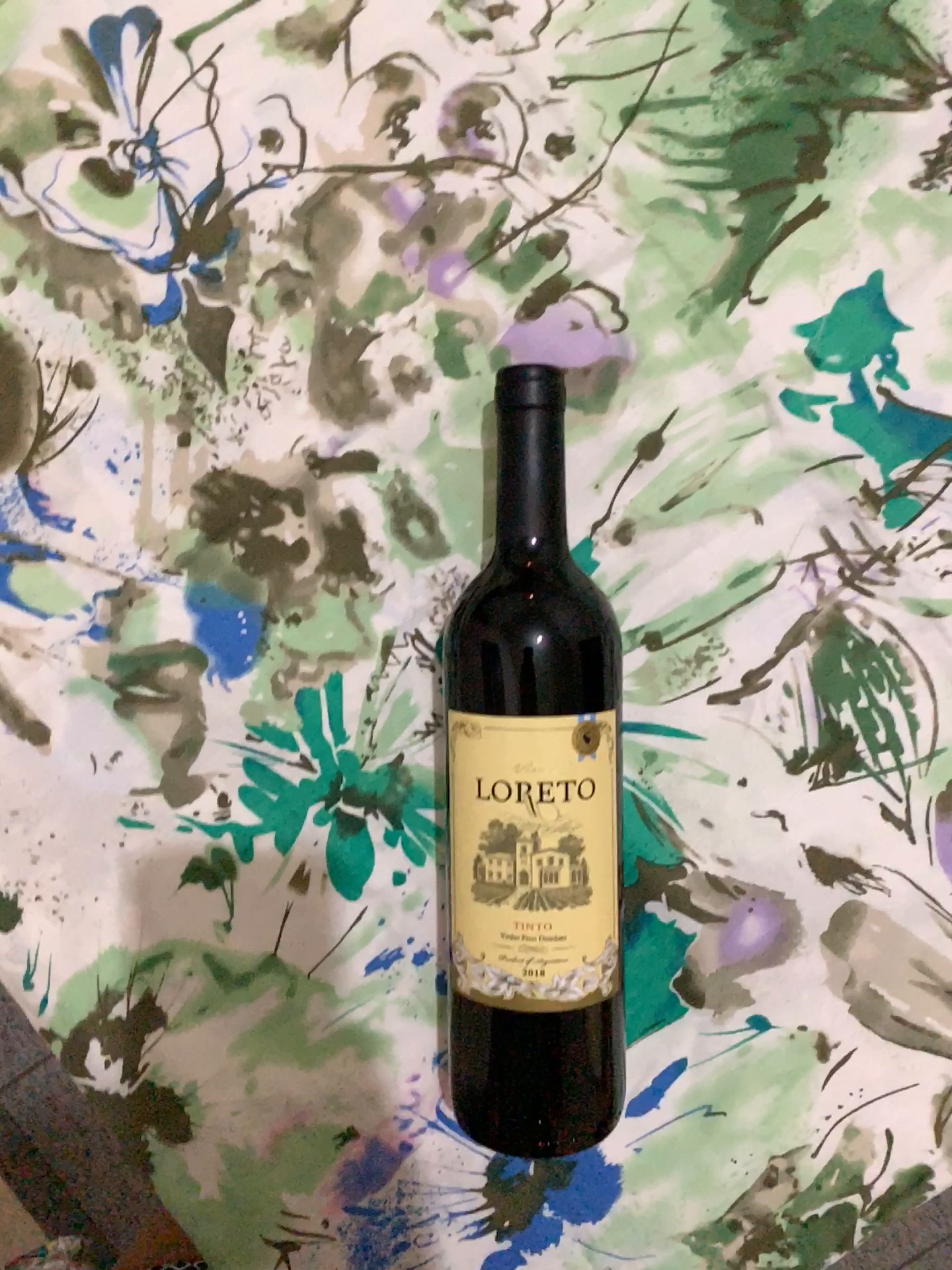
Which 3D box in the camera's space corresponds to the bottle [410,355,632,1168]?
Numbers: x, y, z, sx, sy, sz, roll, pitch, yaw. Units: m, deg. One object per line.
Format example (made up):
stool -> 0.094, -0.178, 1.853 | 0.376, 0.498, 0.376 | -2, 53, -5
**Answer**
bottle -> 0.019, 0.052, 0.392 | 0.080, 0.050, 0.310 | -1, 95, 1
